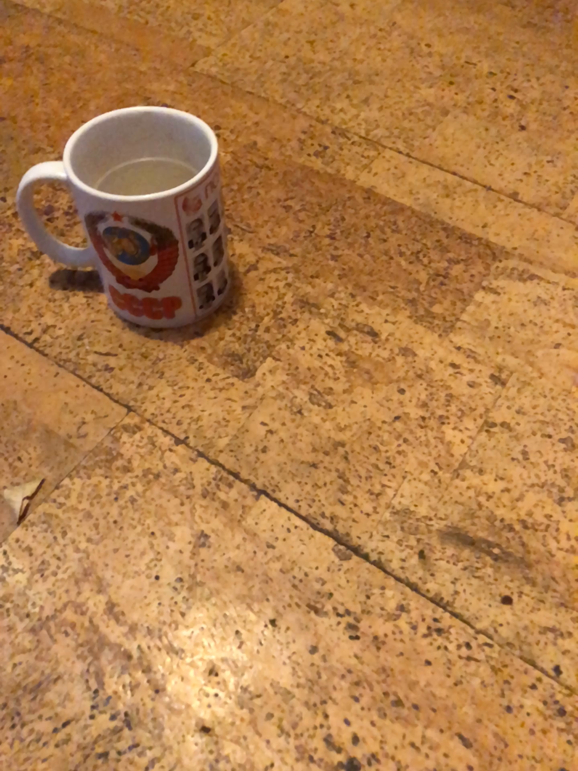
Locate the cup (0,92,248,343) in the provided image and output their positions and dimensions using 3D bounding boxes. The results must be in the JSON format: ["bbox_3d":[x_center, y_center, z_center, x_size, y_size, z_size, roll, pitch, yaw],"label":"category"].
[{"bbox_3d":[-0.092,-0.095,0.370,0.119,0.099,0.083,7,55,5],"label":"cup"}]
